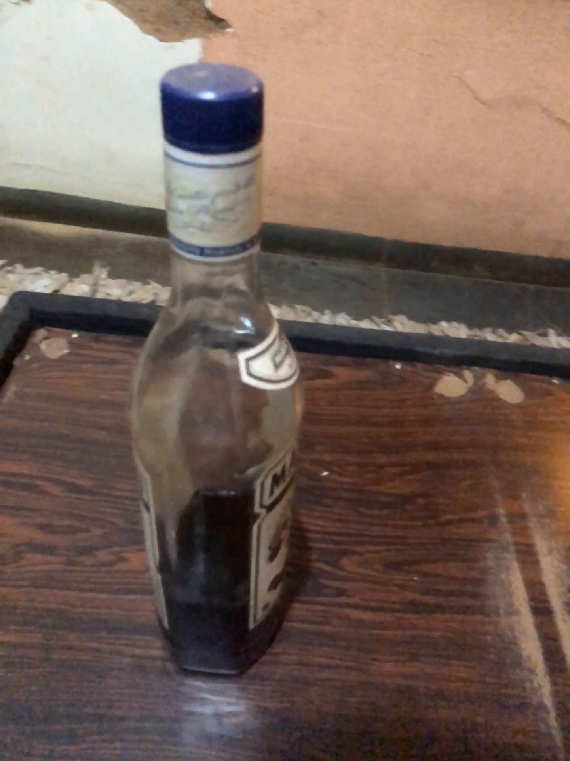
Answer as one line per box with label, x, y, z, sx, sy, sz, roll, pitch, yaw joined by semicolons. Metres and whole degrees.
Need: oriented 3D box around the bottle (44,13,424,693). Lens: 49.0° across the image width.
bottle;-0.022;0.021;0.282;0.090;0.298;0.101;10;42;2
